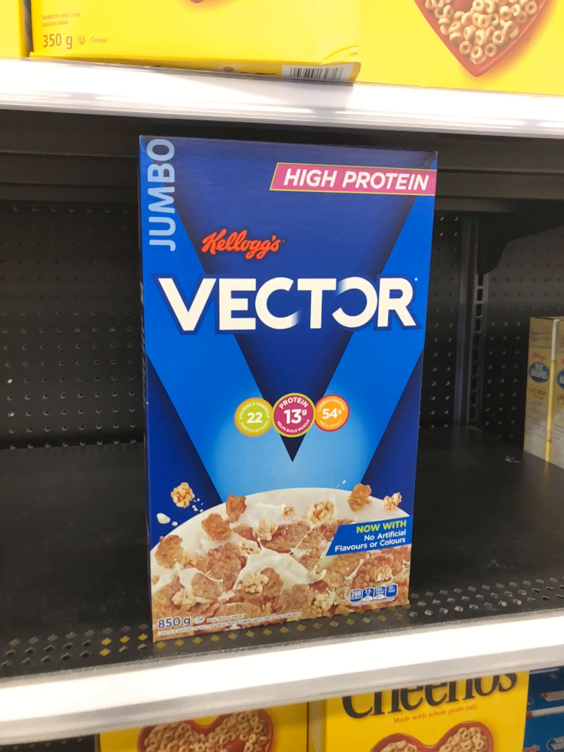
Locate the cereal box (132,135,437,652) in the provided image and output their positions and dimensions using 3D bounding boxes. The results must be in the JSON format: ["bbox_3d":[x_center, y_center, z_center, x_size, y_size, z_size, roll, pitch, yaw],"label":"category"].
[{"bbox_3d":[-0.004,0.013,0.472,0.200,0.349,0.080,-2,12,-14],"label":"cereal box"}]
